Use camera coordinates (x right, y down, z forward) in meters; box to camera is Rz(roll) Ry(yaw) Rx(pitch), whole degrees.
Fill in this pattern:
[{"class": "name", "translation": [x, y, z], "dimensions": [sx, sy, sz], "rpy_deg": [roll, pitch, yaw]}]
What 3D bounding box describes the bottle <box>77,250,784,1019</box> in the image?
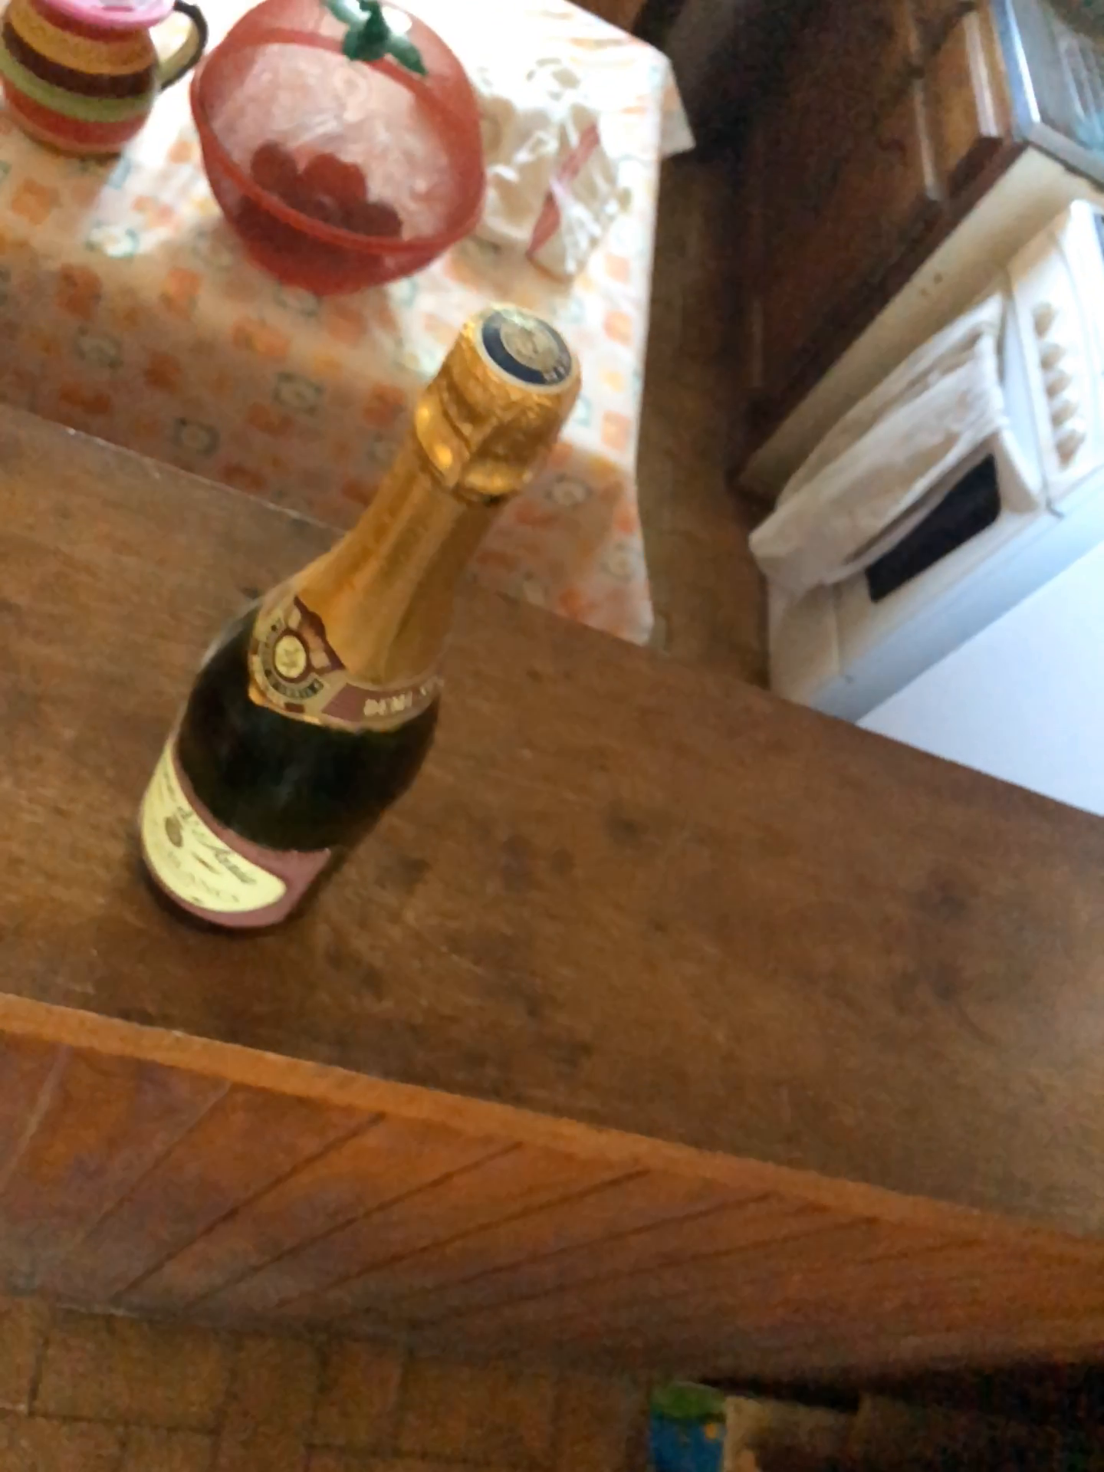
[{"class": "bottle", "translation": [-0.068, -0.008, 0.396], "dimensions": [0.101, 0.298, 0.090], "rpy_deg": [-19, 74, -35]}]
